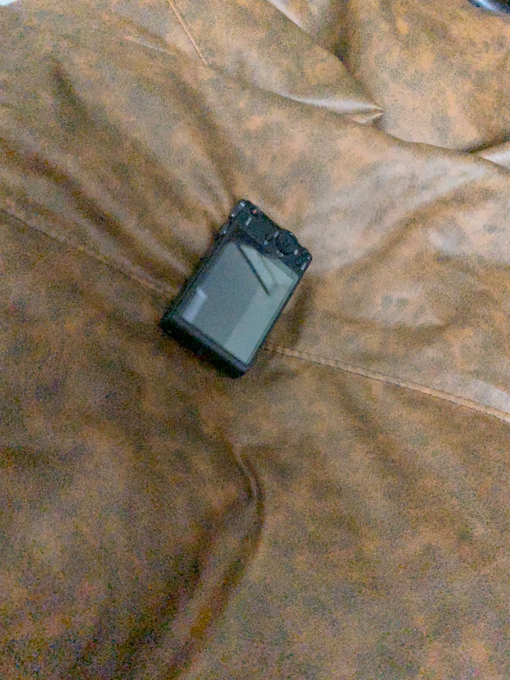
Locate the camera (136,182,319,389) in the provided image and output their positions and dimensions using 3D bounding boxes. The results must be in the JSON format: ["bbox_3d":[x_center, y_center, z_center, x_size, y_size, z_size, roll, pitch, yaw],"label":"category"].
[{"bbox_3d":[-0.013,-0.031,0.300,0.060,0.024,0.100,34,68,-10],"label":"camera"}]
